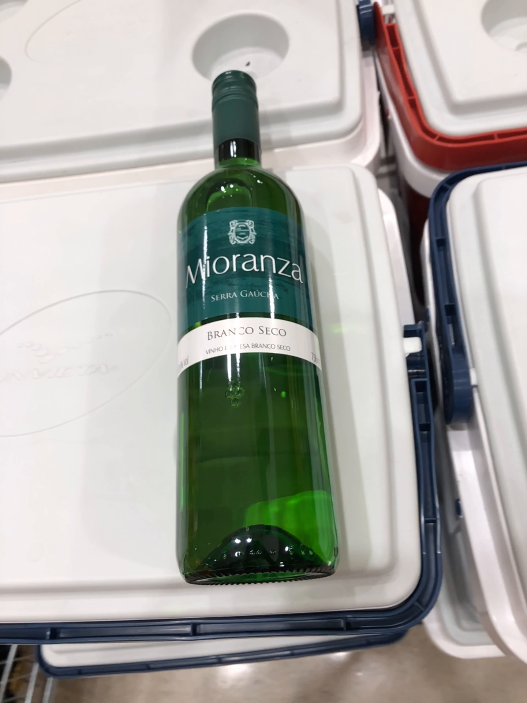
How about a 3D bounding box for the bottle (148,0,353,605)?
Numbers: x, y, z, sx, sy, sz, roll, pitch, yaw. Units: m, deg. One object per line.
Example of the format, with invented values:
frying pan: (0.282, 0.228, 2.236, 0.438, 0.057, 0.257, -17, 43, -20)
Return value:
bottle: (-0.010, -0.053, 0.342, 0.080, 0.070, 0.361, -7, 64, 7)
